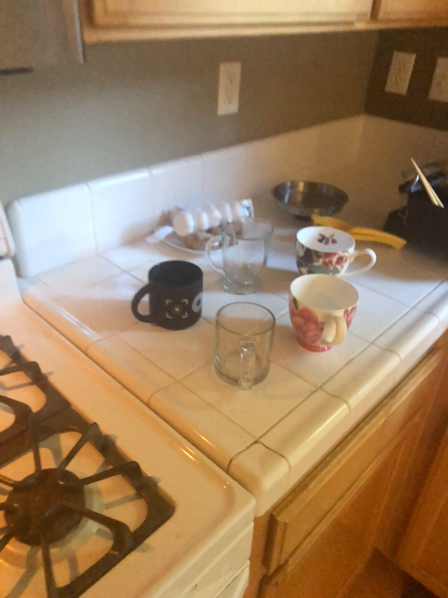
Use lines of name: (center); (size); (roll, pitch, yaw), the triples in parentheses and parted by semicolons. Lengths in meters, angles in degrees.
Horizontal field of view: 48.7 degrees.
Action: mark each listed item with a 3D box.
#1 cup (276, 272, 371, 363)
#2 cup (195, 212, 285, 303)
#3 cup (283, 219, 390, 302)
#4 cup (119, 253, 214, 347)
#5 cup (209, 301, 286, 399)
cup: (0.138, 0.024, 0.721); (0.100, 0.069, 0.131); (1, 33, -4)
cup: (0.023, -0.075, 0.868); (0.120, 0.109, 0.101); (-11, 35, -21)
cup: (0.208, -0.075, 0.921); (0.160, 0.079, 0.101); (20, 36, 24)
cup: (-0.084, -0.002, 0.733); (0.111, 0.079, 0.080); (-24, 41, -35)
cup: (0.028, 0.069, 0.700); (0.090, 0.079, 0.121); (0, 33, -5)
